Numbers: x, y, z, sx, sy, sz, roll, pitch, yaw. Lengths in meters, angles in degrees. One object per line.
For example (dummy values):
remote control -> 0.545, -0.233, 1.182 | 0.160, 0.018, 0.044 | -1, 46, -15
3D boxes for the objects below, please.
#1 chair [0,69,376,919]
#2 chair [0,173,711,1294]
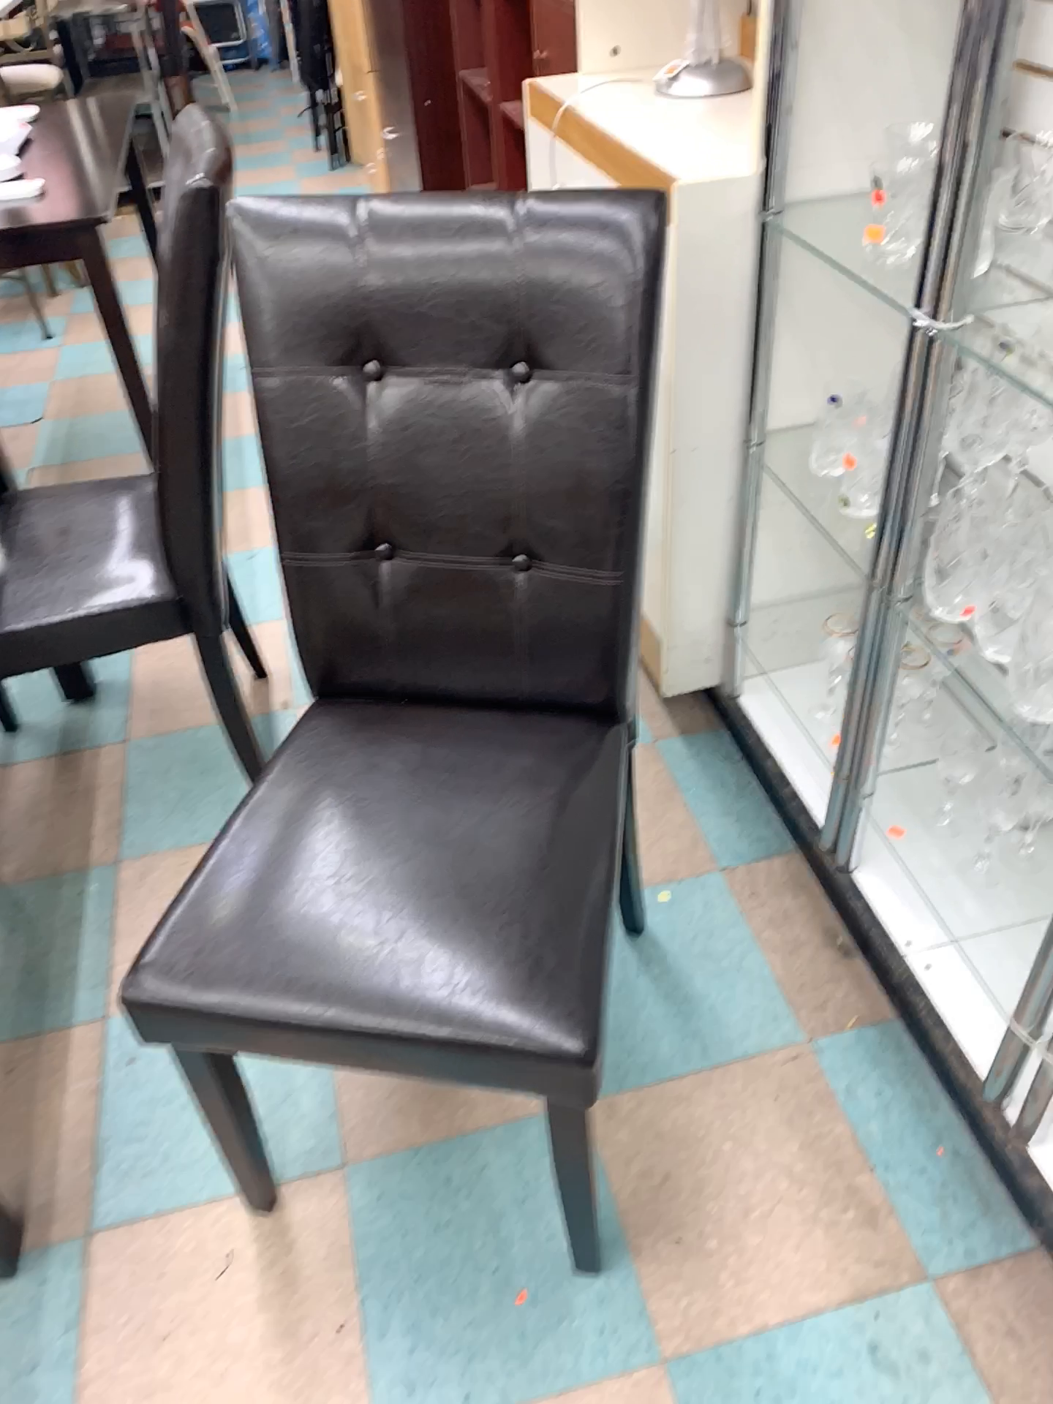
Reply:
chair -> -0.684, -0.318, 1.621 | 0.650, 0.955, 0.674 | -14, 40, -10
chair -> -0.090, 0.060, 1.092 | 0.470, 0.955, 0.573 | 5, 41, 12
